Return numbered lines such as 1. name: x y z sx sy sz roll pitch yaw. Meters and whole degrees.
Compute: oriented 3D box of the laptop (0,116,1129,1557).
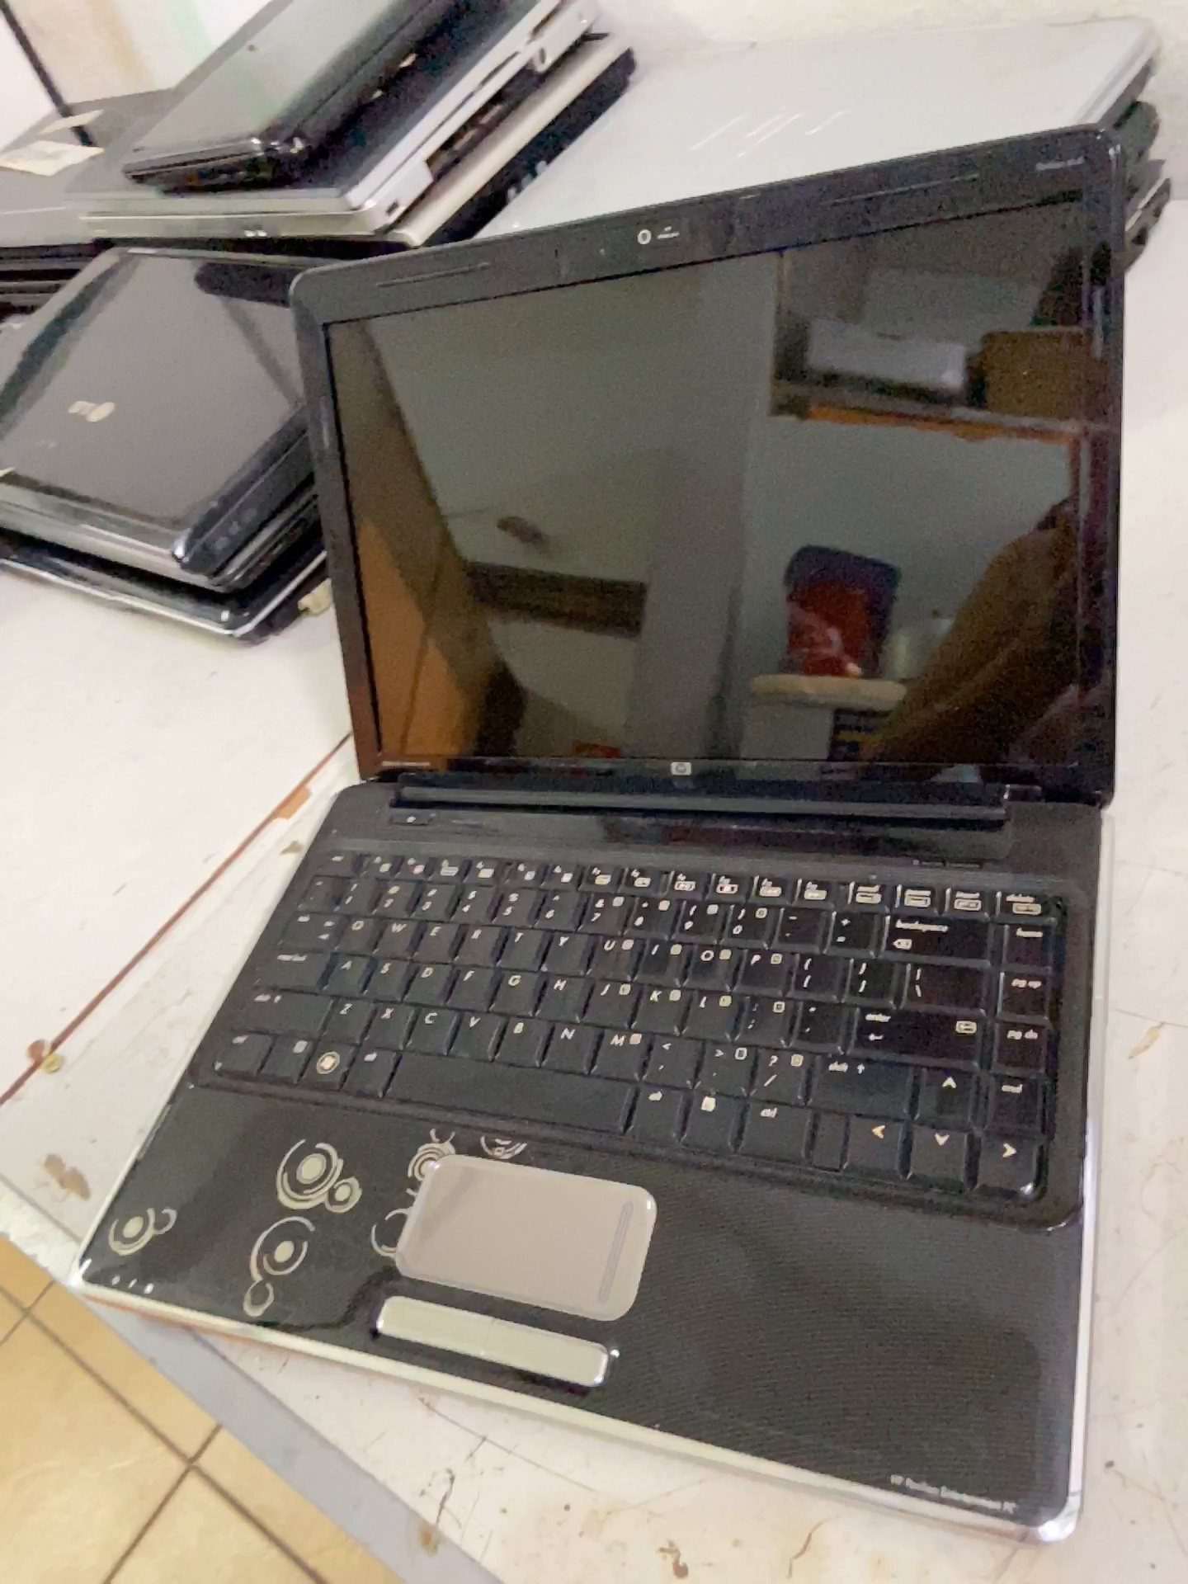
1. laptop: -0.008 -0.020 0.410 0.331 0.176 0.373 1 49 25
